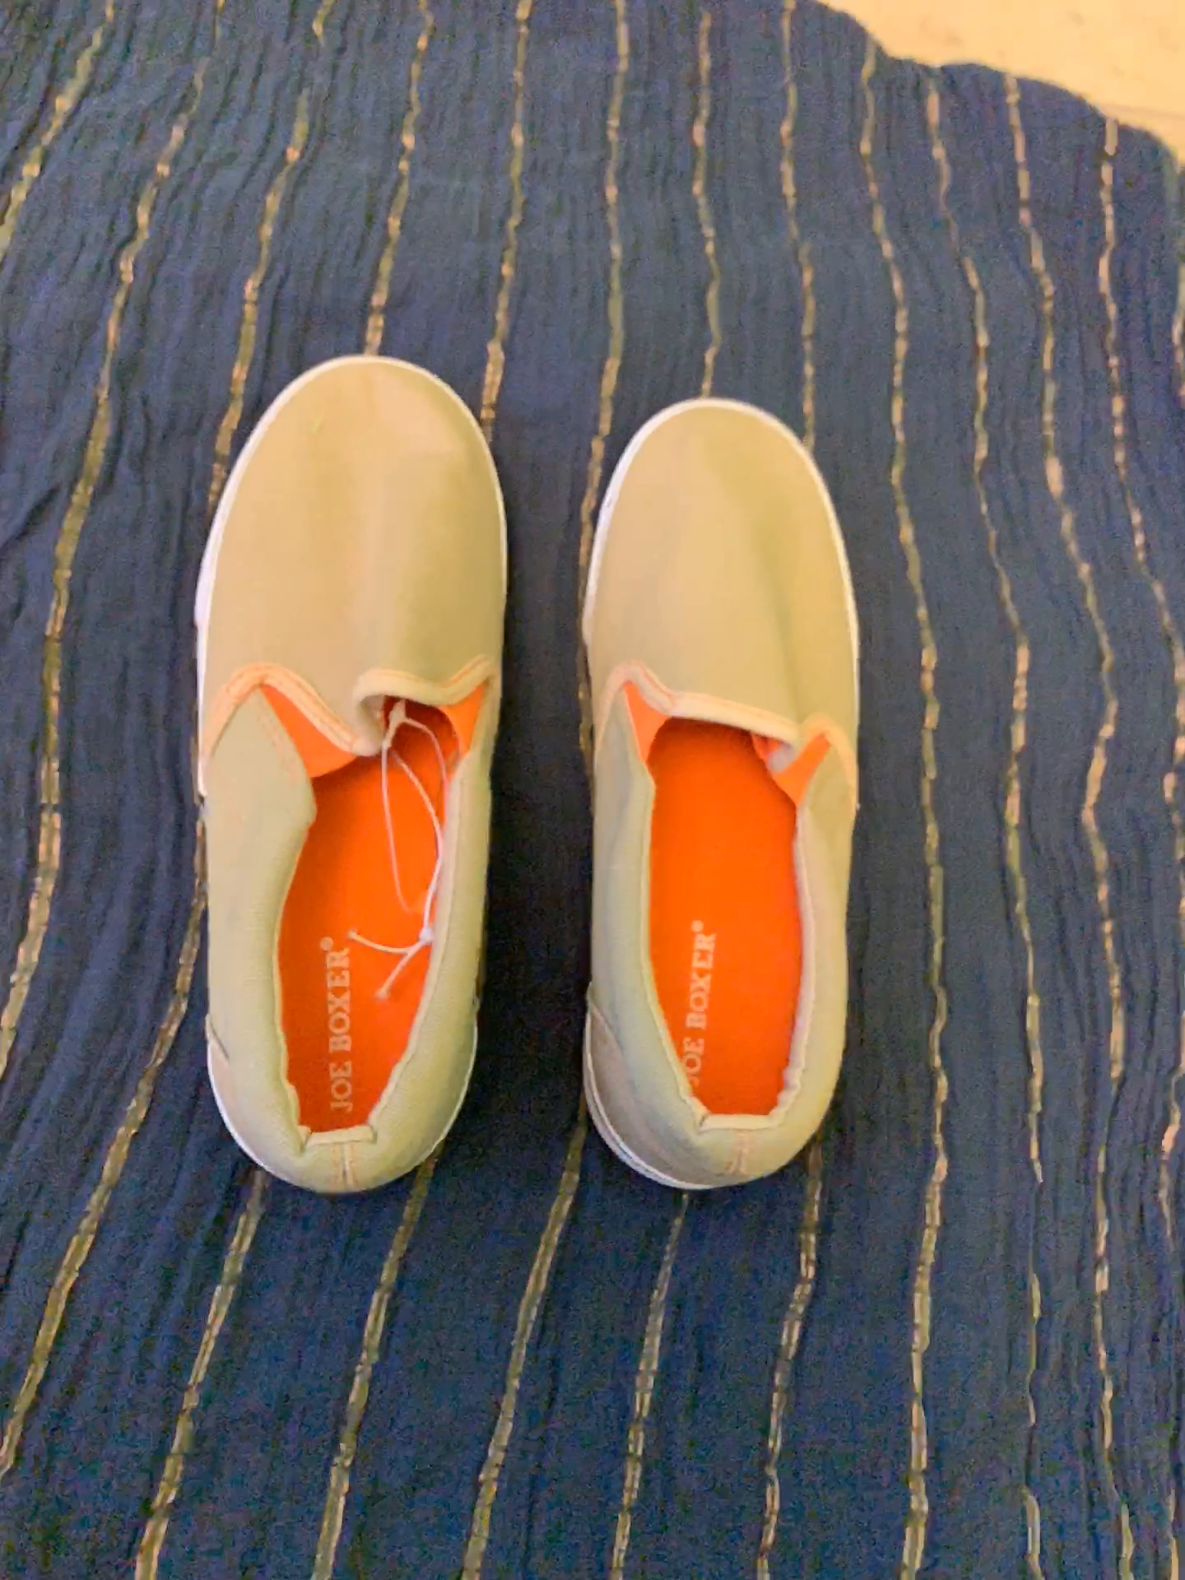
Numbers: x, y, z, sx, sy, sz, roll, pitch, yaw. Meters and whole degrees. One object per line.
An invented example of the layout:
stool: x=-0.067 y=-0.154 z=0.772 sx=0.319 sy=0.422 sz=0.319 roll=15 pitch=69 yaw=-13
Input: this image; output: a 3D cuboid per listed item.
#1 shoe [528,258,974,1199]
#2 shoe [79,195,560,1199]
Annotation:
shoe: x=0.043 y=-0.018 z=0.382 sx=0.100 sy=0.080 sz=0.271 roll=6 pitch=71 yaw=-13
shoe: x=-0.068 y=-0.024 z=0.348 sx=0.095 sy=0.080 sz=0.263 roll=6 pitch=71 yaw=-13
